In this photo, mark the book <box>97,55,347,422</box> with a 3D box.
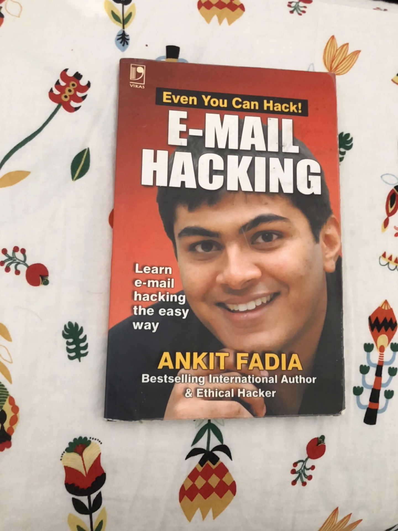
[{"bbox_3d":[0.015,-0.017,0.261,0.138,0.020,0.204,1,84,-6],"label":"book"}]
